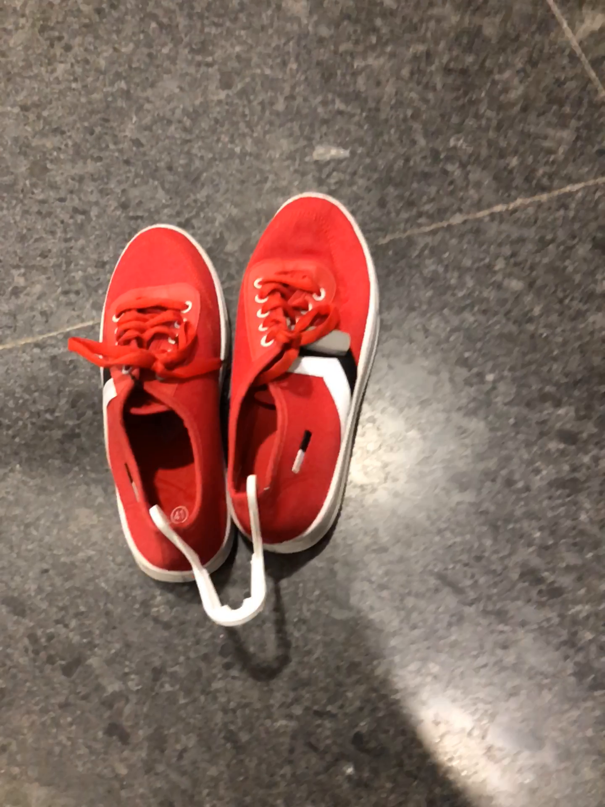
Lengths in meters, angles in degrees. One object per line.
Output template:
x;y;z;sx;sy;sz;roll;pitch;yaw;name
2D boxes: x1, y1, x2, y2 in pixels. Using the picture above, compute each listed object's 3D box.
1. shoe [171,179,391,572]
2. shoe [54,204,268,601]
-0.002;-0.021;0.431;0.103;0.090;0.234;3;69;8;shoe
-0.091;-0.001;0.438;0.101;0.090;0.233;-9;67;3;shoe
